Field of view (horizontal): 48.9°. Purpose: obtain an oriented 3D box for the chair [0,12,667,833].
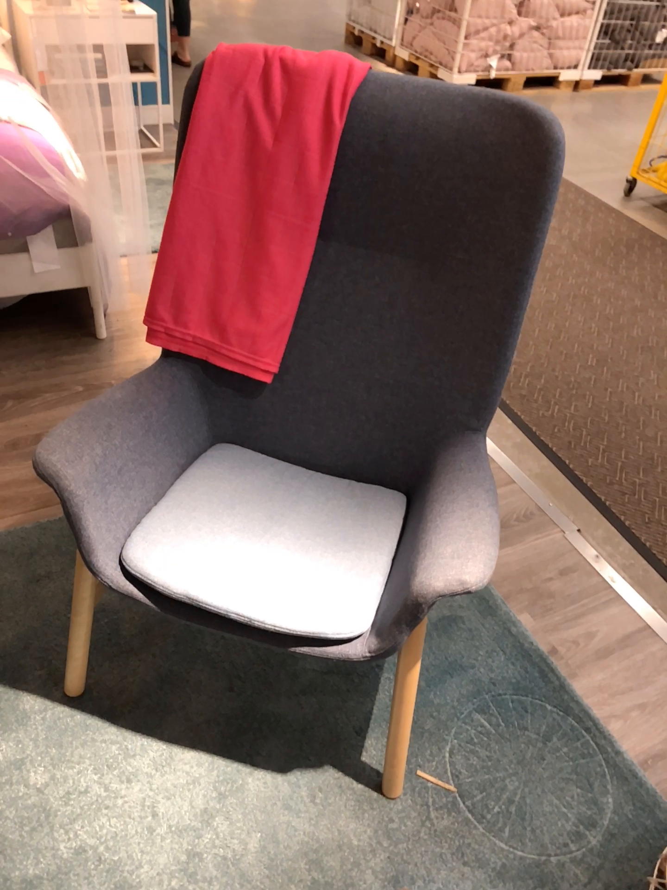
[{"bbox_3d":[-0.062,-0.040,1.225,0.790,0.996,0.703,14,40,8],"label":"chair"}]
